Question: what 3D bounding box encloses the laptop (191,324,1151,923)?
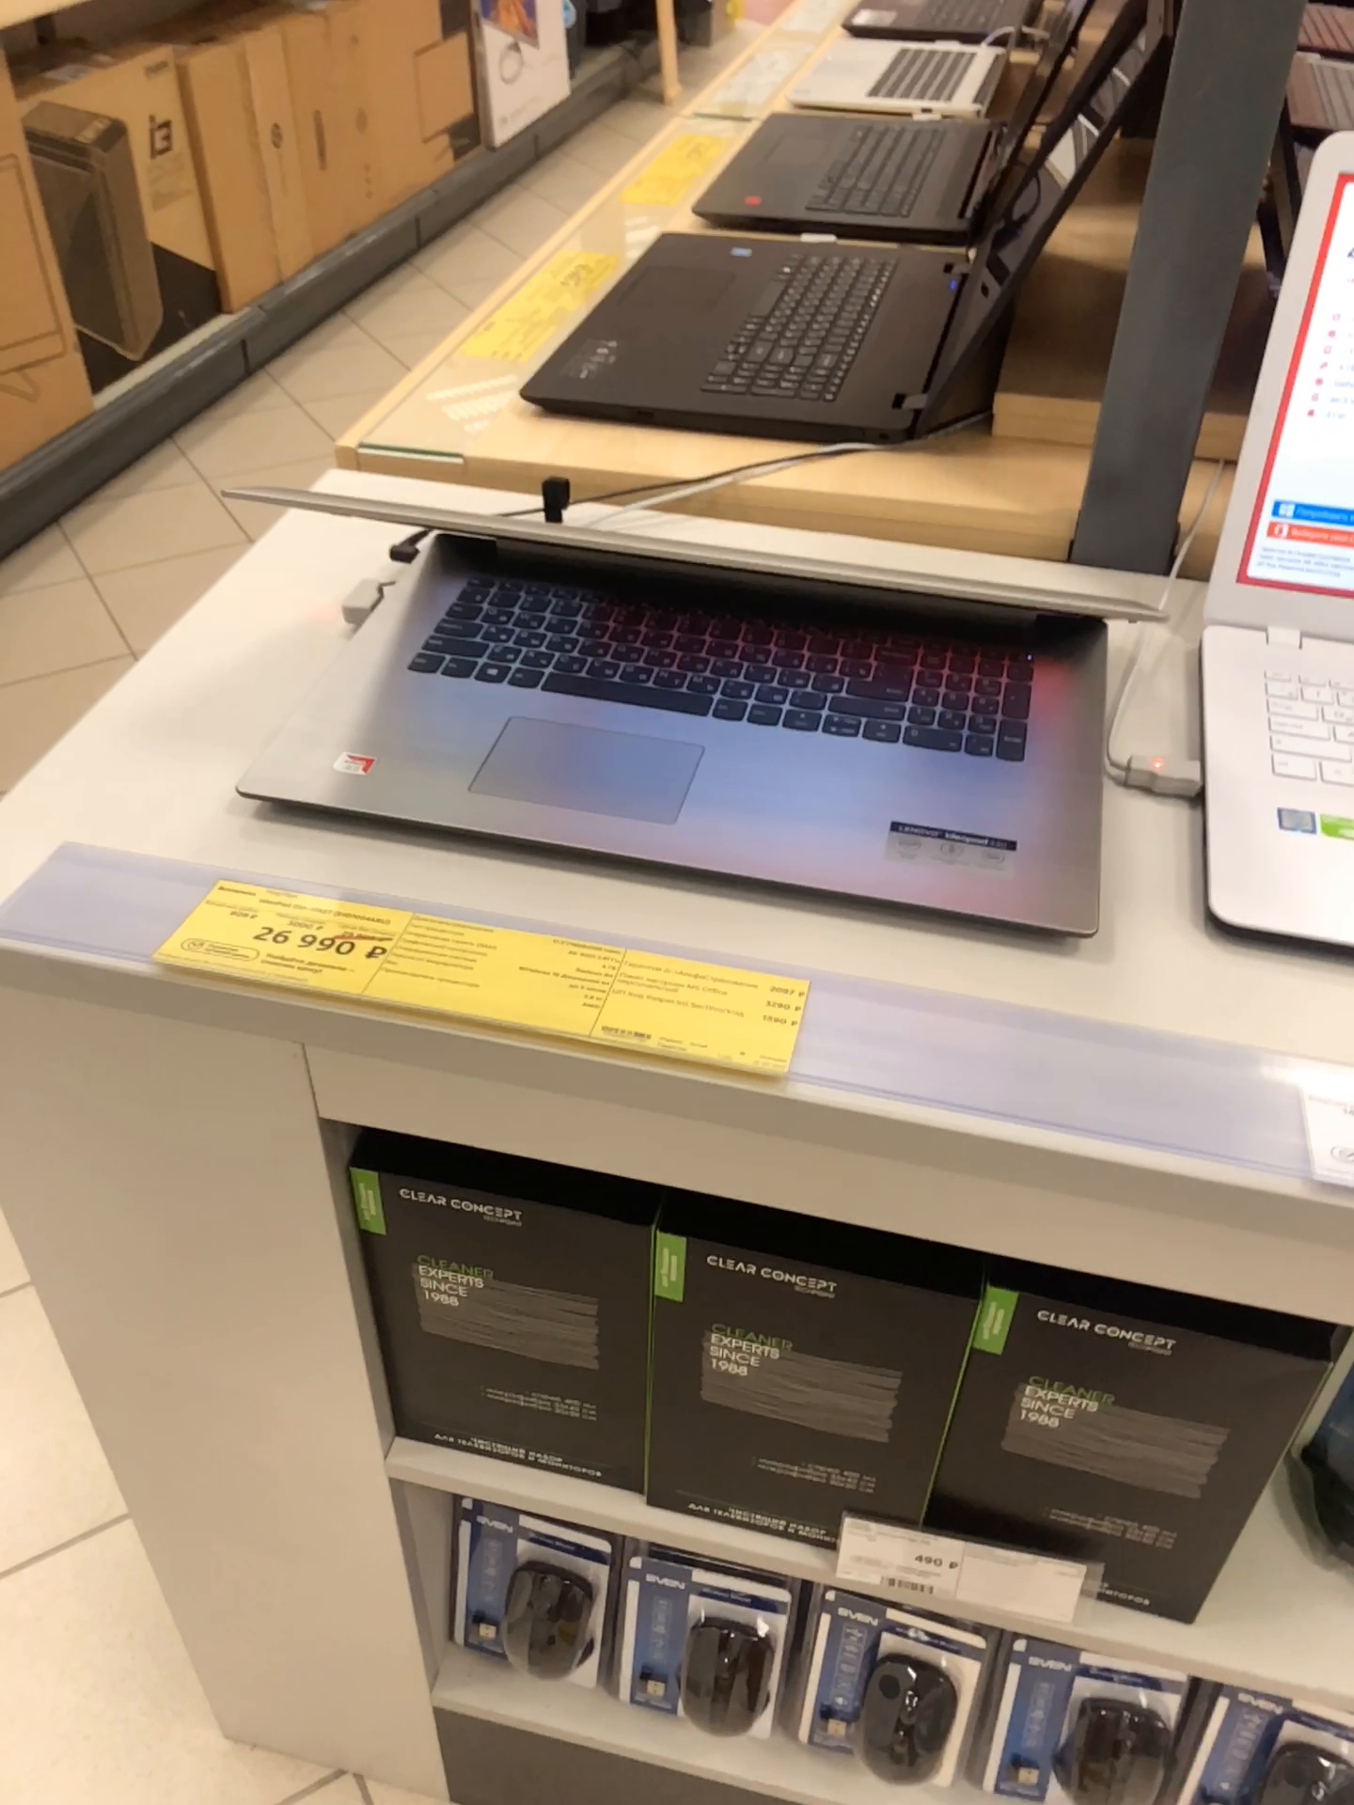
[{"bbox_3d":[0.015,-0.159,0.741,0.398,0.129,0.277,9,40,10],"label":"laptop"}]
